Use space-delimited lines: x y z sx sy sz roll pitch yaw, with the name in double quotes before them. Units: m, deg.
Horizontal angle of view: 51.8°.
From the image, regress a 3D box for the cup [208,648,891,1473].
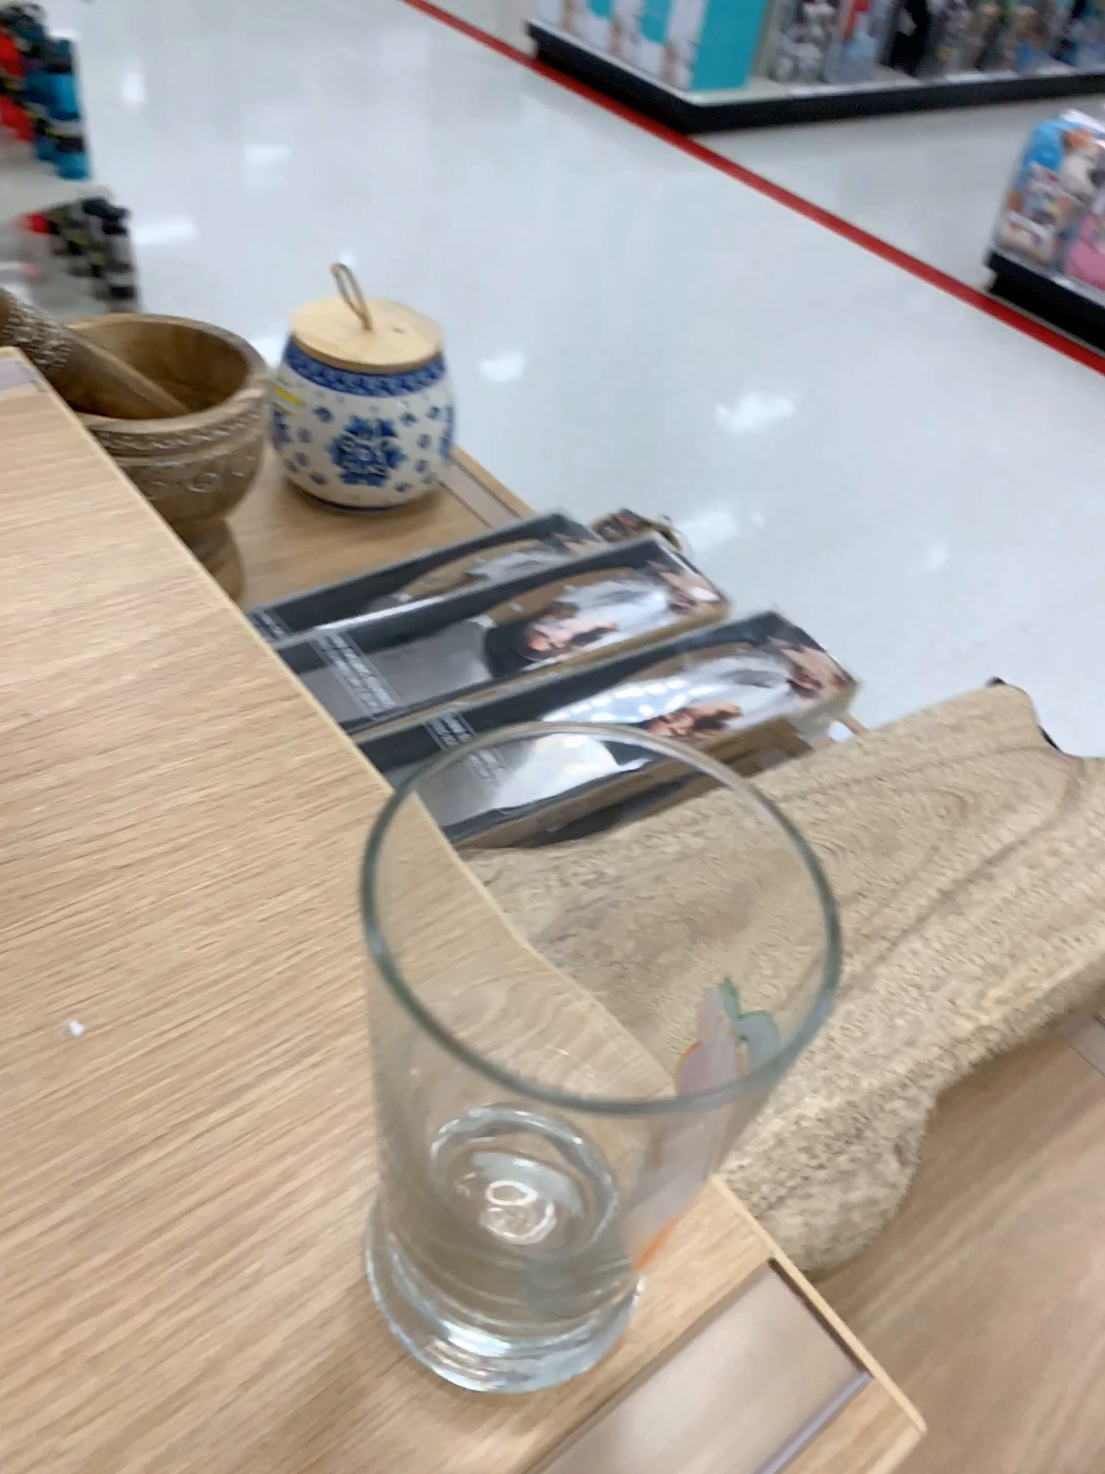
"cup" -0.002 0.064 0.199 0.080 0.120 0.080 6 44 -6
